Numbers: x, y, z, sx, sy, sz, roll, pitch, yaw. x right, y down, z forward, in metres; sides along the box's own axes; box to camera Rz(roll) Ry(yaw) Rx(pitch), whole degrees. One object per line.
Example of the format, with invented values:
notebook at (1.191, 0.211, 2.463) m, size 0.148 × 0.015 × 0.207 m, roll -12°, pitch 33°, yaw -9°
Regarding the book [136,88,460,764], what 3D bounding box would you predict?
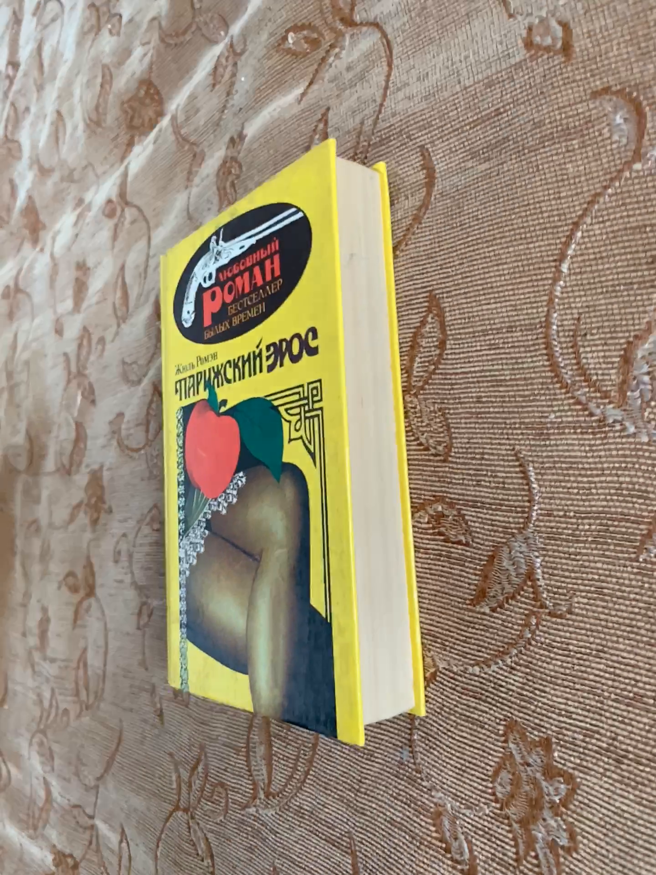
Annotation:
book at (-0.023, 0.000, 0.258) m, size 0.131 × 0.040 × 0.196 m, roll -11°, pitch 79°, yaw 48°
